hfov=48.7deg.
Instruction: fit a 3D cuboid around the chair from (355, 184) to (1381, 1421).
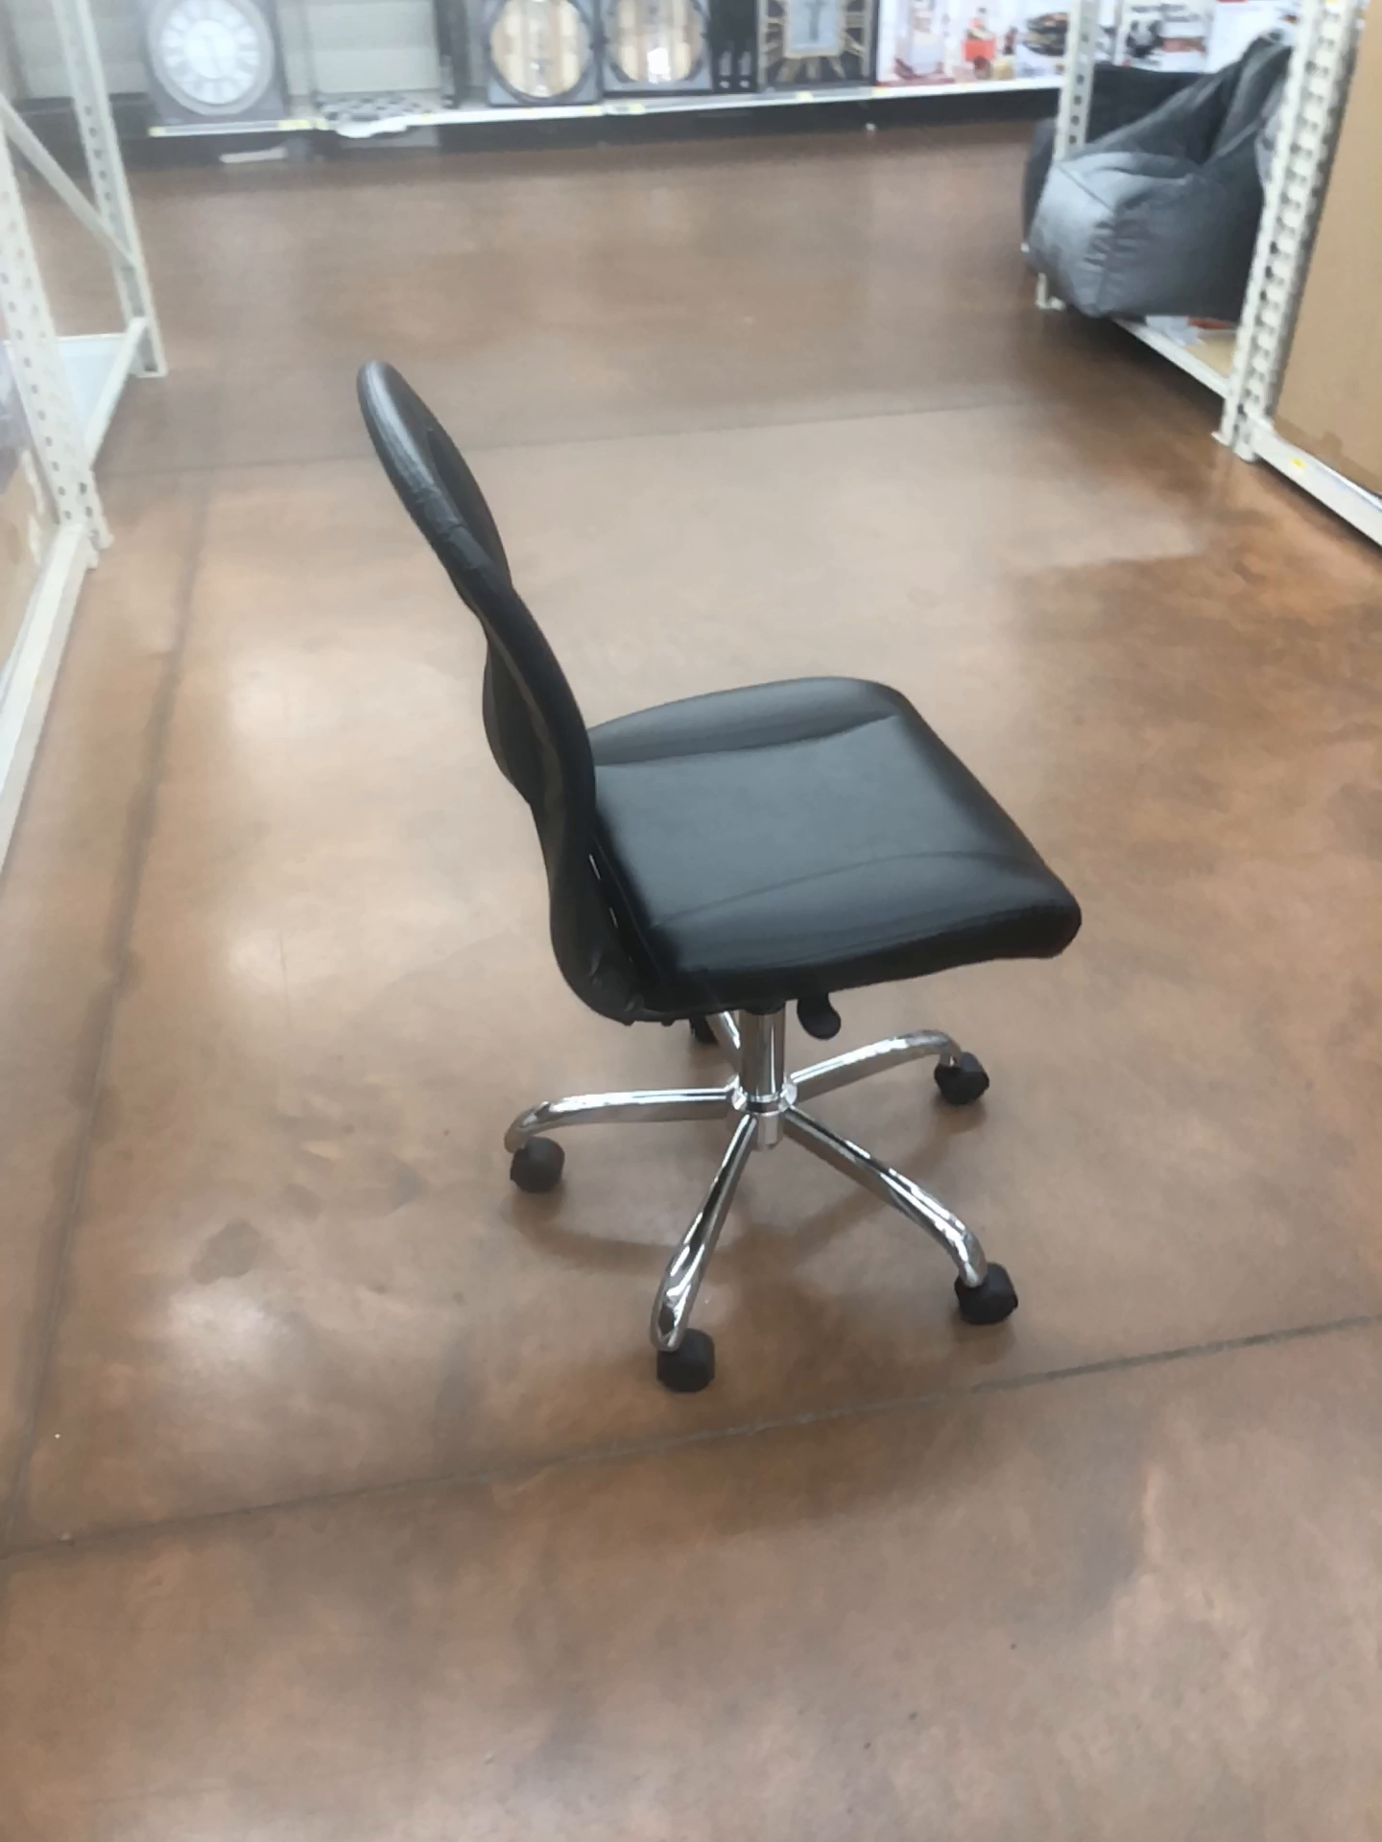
[{"bbox_3d":[0.101,-0.143,1.403,0.650,0.817,0.683,-9,37,-10],"label":"chair"}]
